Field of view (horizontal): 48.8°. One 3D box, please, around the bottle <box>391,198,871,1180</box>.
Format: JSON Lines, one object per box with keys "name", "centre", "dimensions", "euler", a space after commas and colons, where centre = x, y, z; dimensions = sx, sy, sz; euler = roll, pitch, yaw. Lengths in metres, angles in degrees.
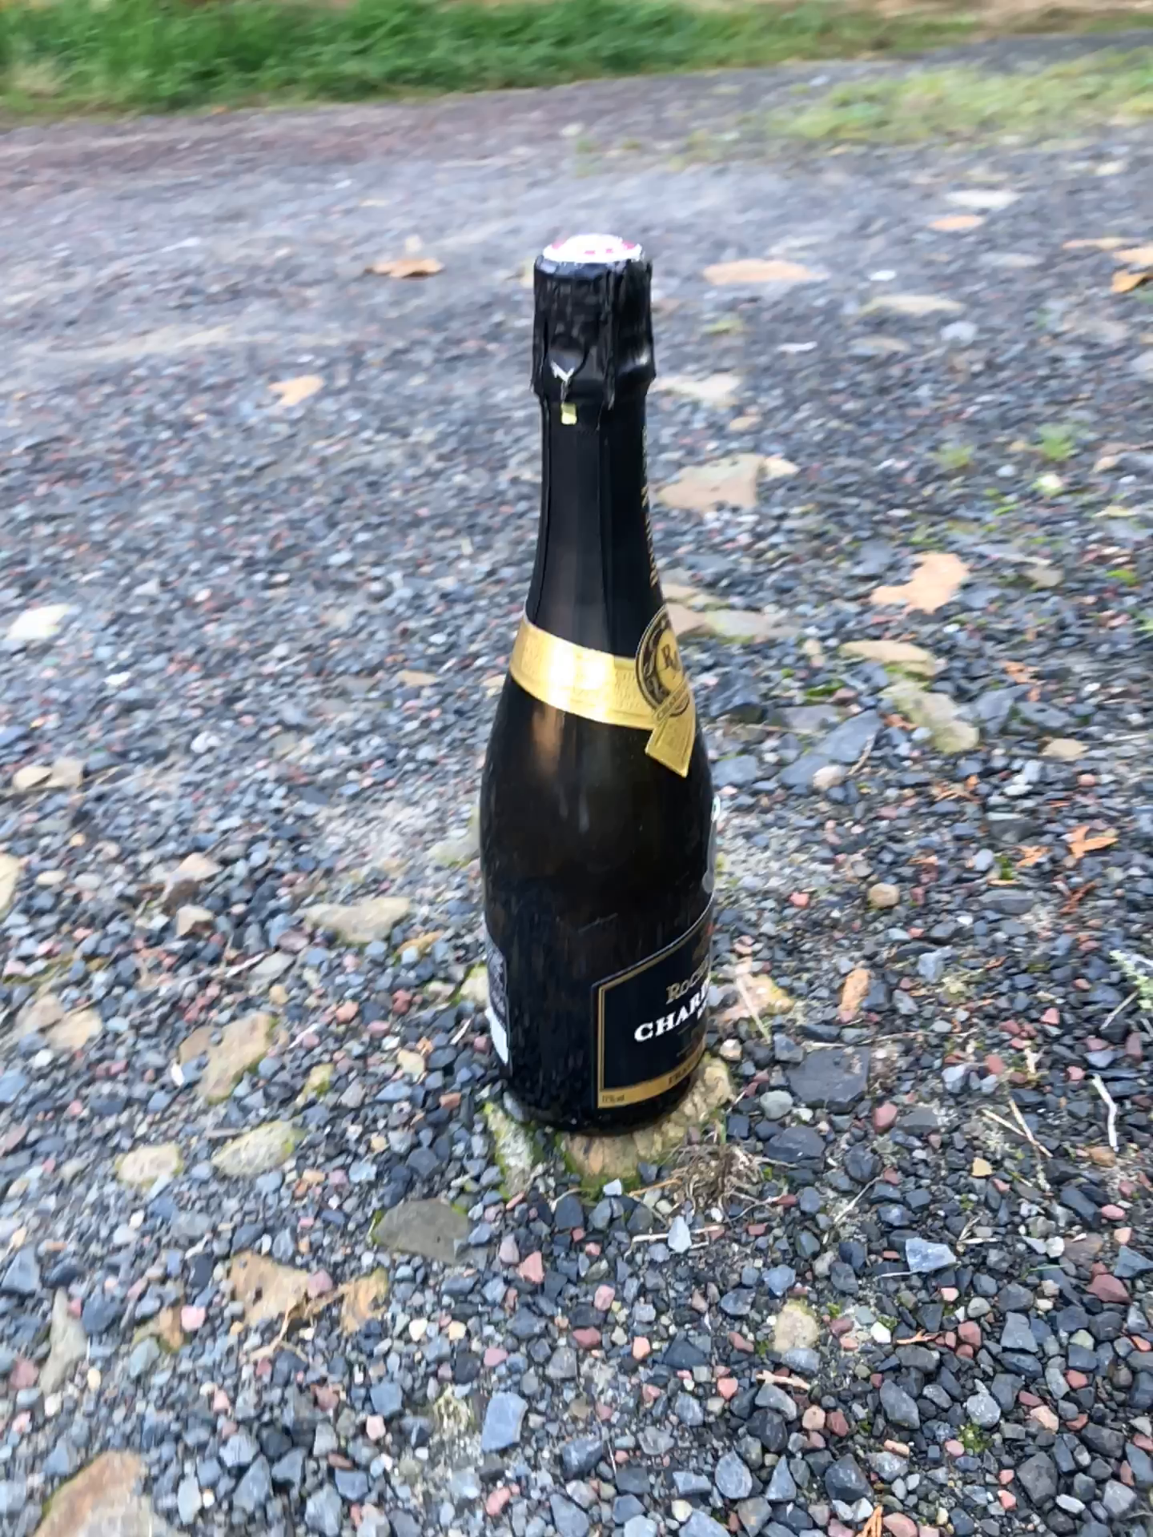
{"name": "bottle", "centre": [0.020, -0.016, 0.420], "dimensions": [0.100, 0.298, 0.101], "euler": [0, 33, 0]}
